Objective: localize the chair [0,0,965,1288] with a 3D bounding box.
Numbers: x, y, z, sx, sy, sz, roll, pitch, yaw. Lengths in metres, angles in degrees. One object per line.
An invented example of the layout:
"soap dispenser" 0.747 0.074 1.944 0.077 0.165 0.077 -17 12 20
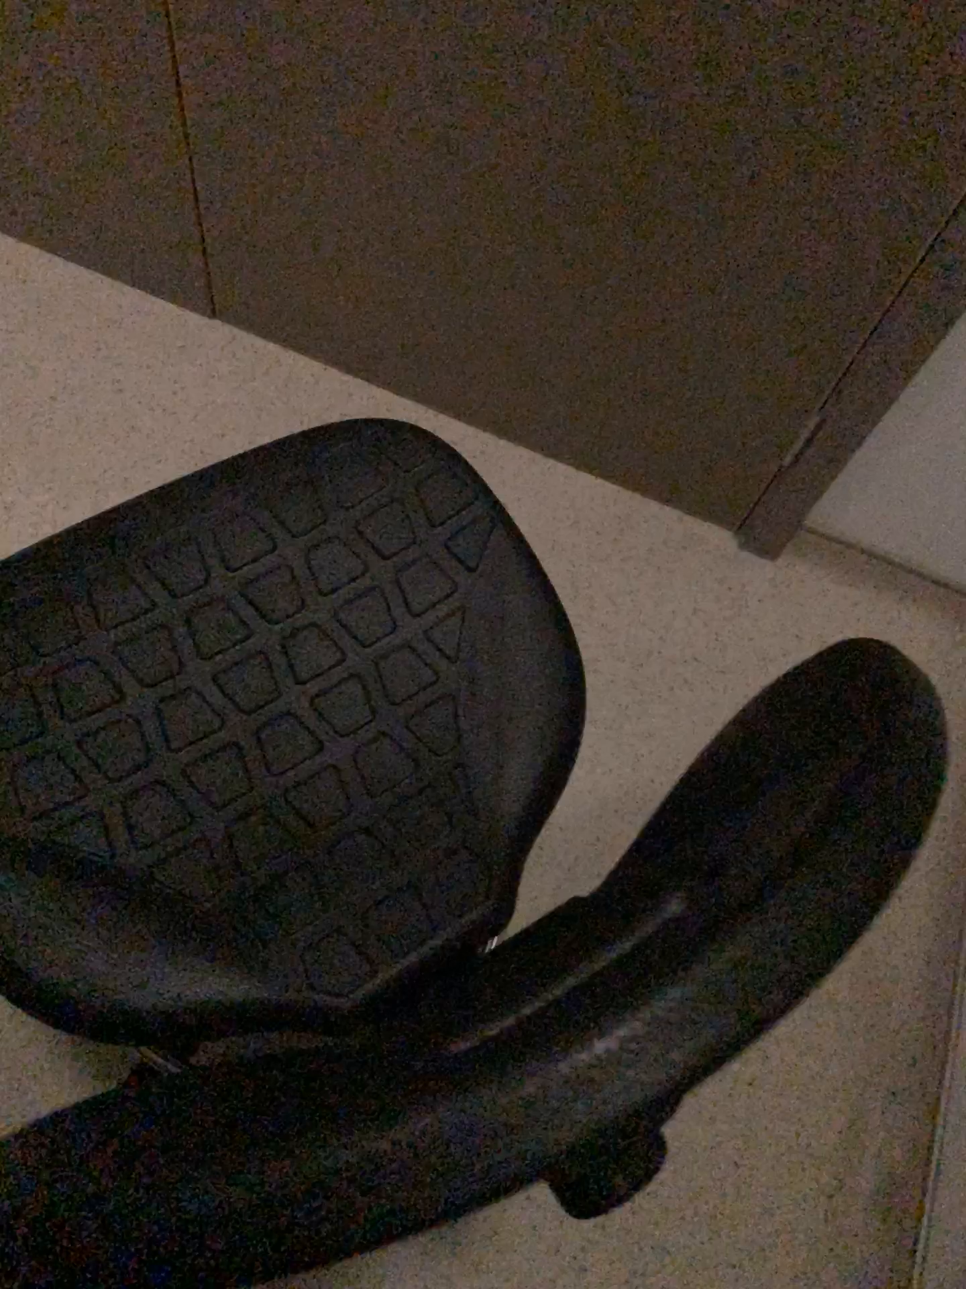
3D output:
"chair" -0.117 0.049 0.695 0.621 0.935 0.672 -28 71 -19
